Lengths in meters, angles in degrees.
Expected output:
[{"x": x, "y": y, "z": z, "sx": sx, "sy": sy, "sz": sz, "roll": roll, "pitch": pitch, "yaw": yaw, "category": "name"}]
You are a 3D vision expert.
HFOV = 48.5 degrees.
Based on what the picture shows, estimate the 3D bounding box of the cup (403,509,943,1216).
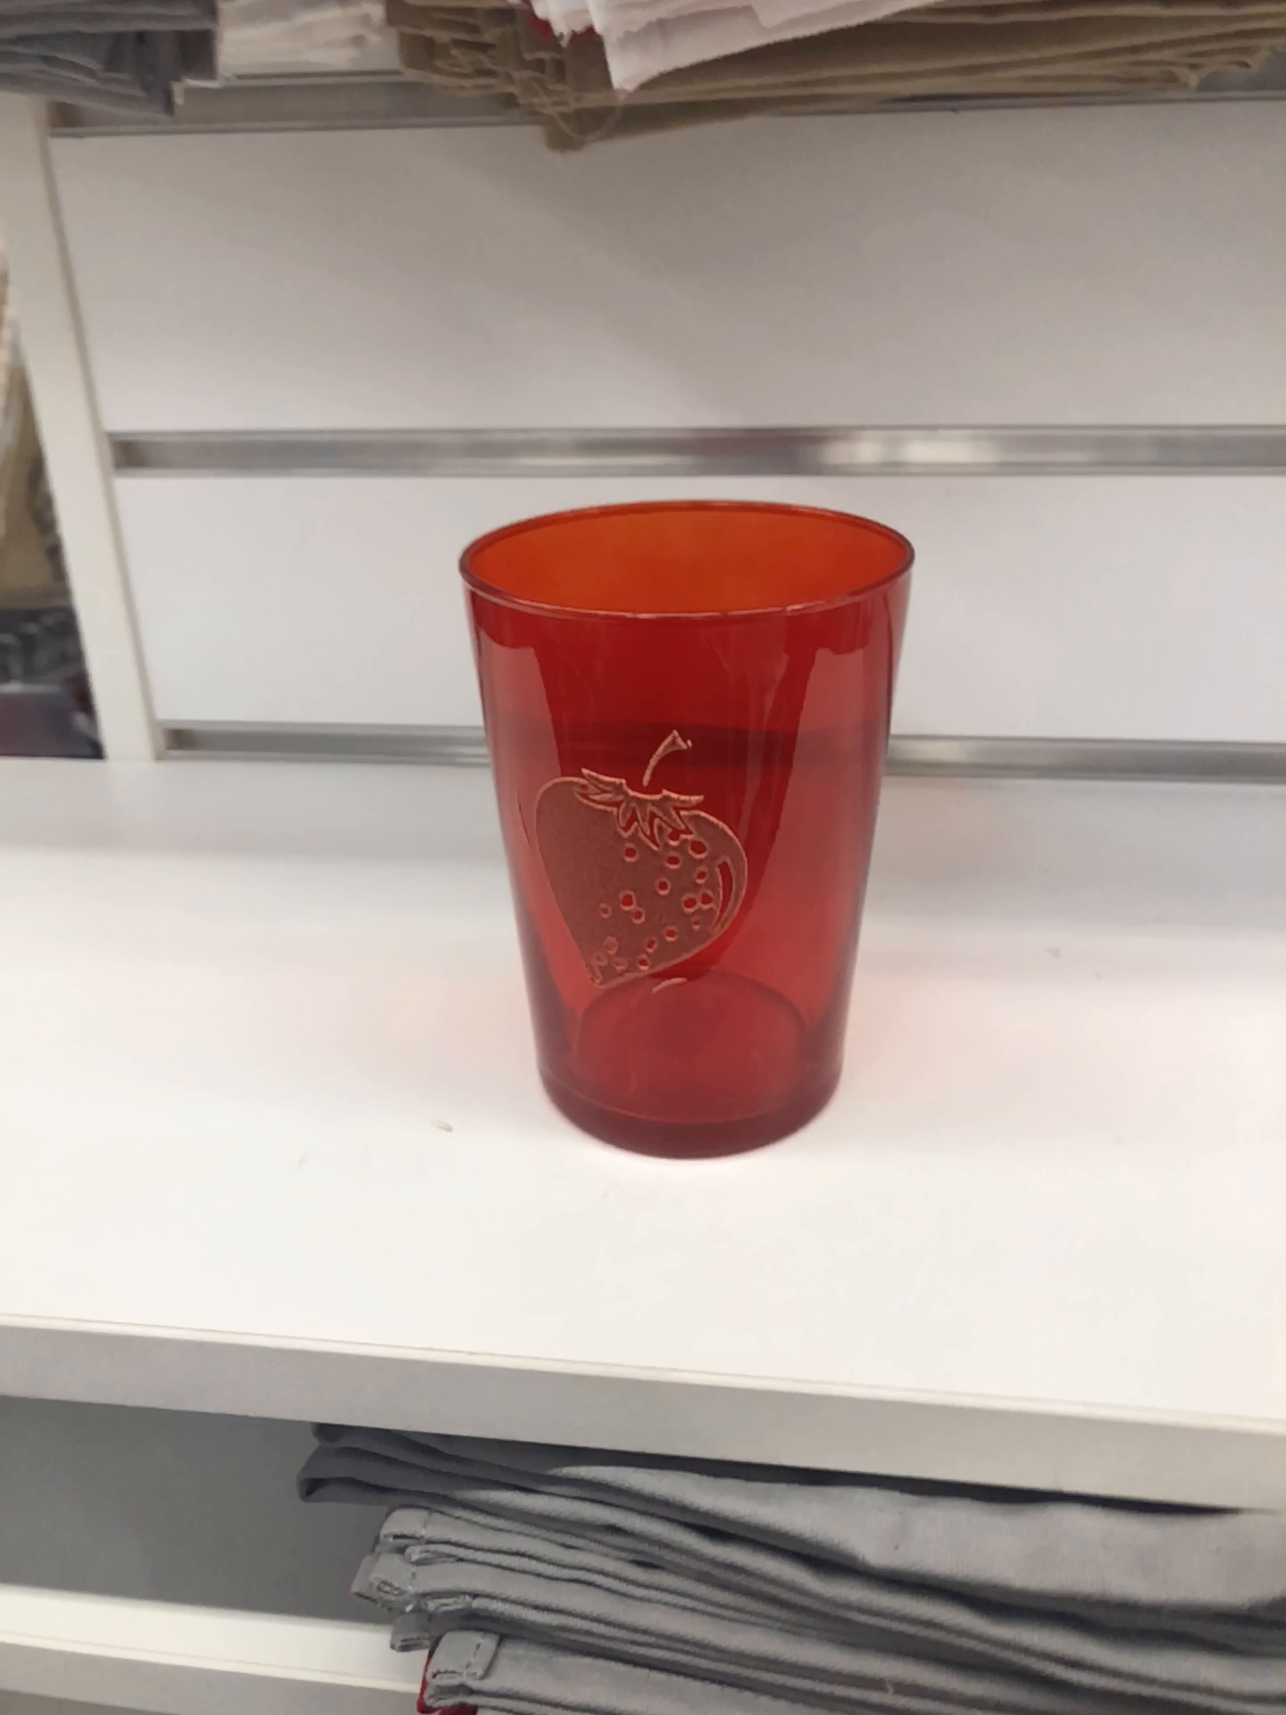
[{"x": 0.011, "y": -0.004, "z": 0.306, "sx": 0.091, "sy": 0.121, "sz": 0.091, "roll": -1, "pitch": 25, "yaw": 1, "category": "cup"}]
